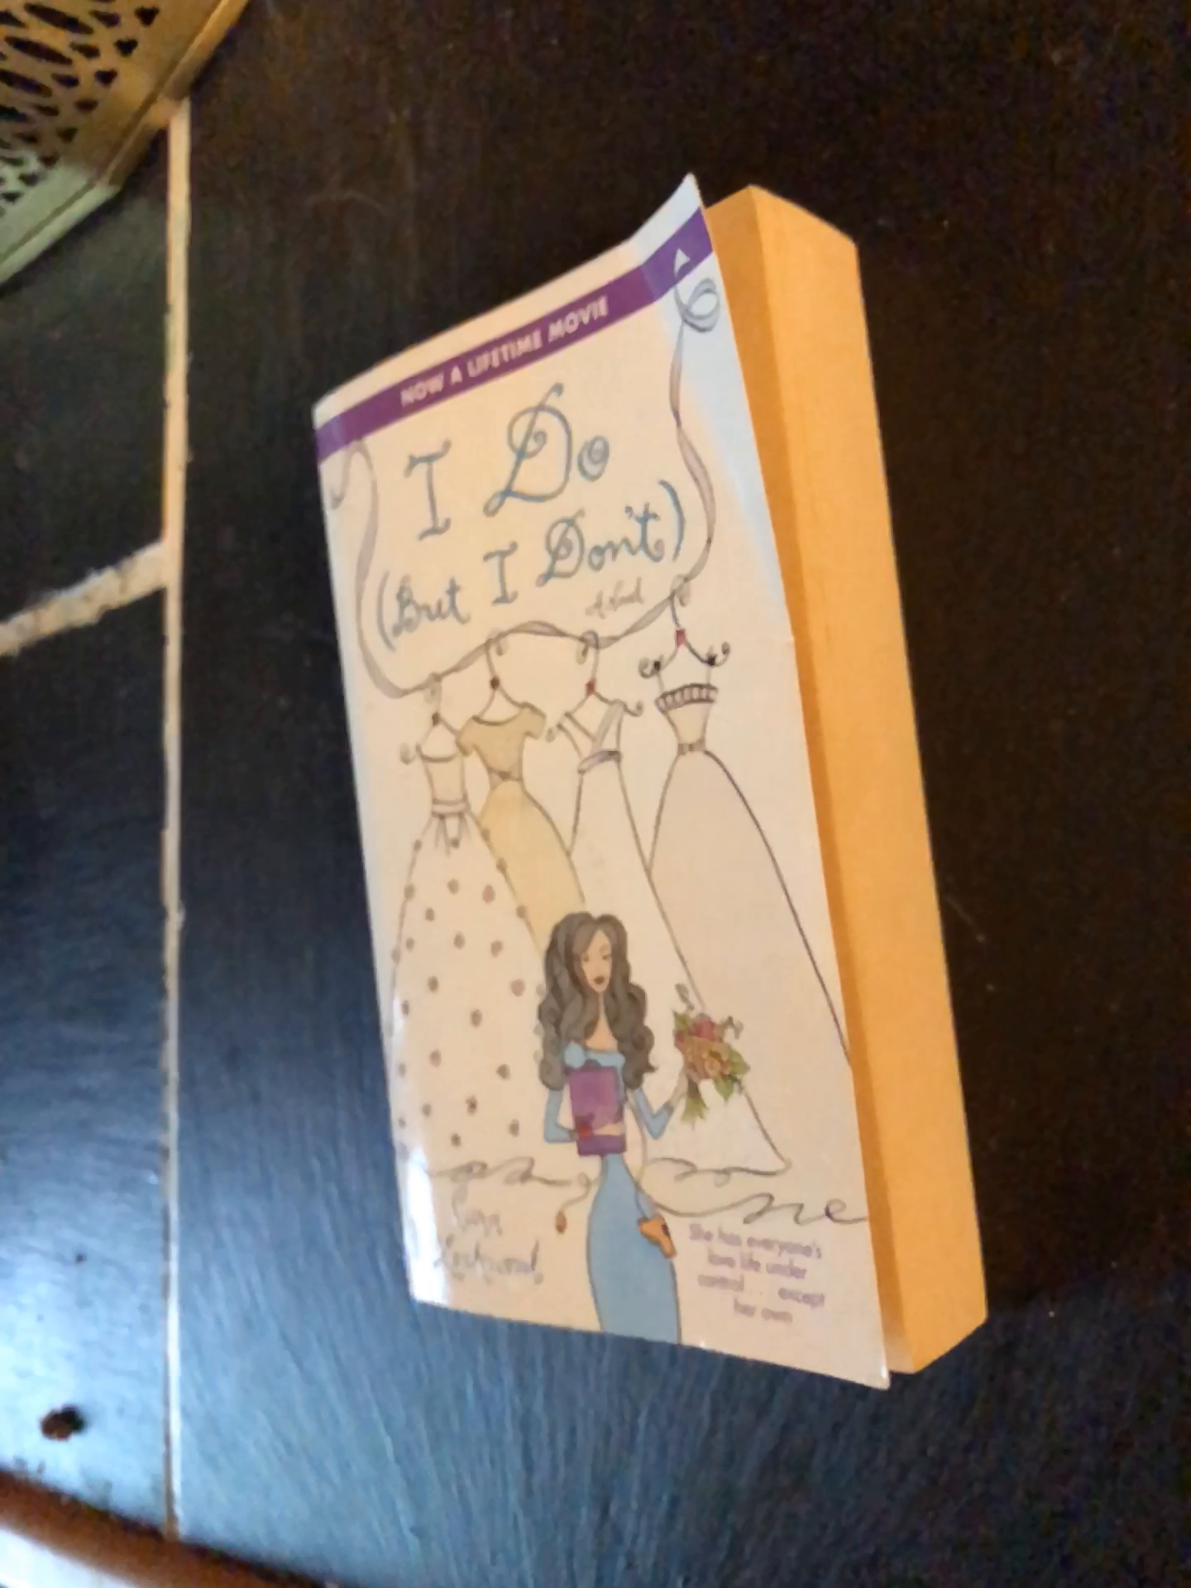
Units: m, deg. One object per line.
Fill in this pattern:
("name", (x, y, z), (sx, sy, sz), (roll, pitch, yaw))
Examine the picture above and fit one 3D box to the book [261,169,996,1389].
("book", (-0.002, 0.002, 0.227), (0.111, 0.032, 0.164), (-8, 87, 40))
